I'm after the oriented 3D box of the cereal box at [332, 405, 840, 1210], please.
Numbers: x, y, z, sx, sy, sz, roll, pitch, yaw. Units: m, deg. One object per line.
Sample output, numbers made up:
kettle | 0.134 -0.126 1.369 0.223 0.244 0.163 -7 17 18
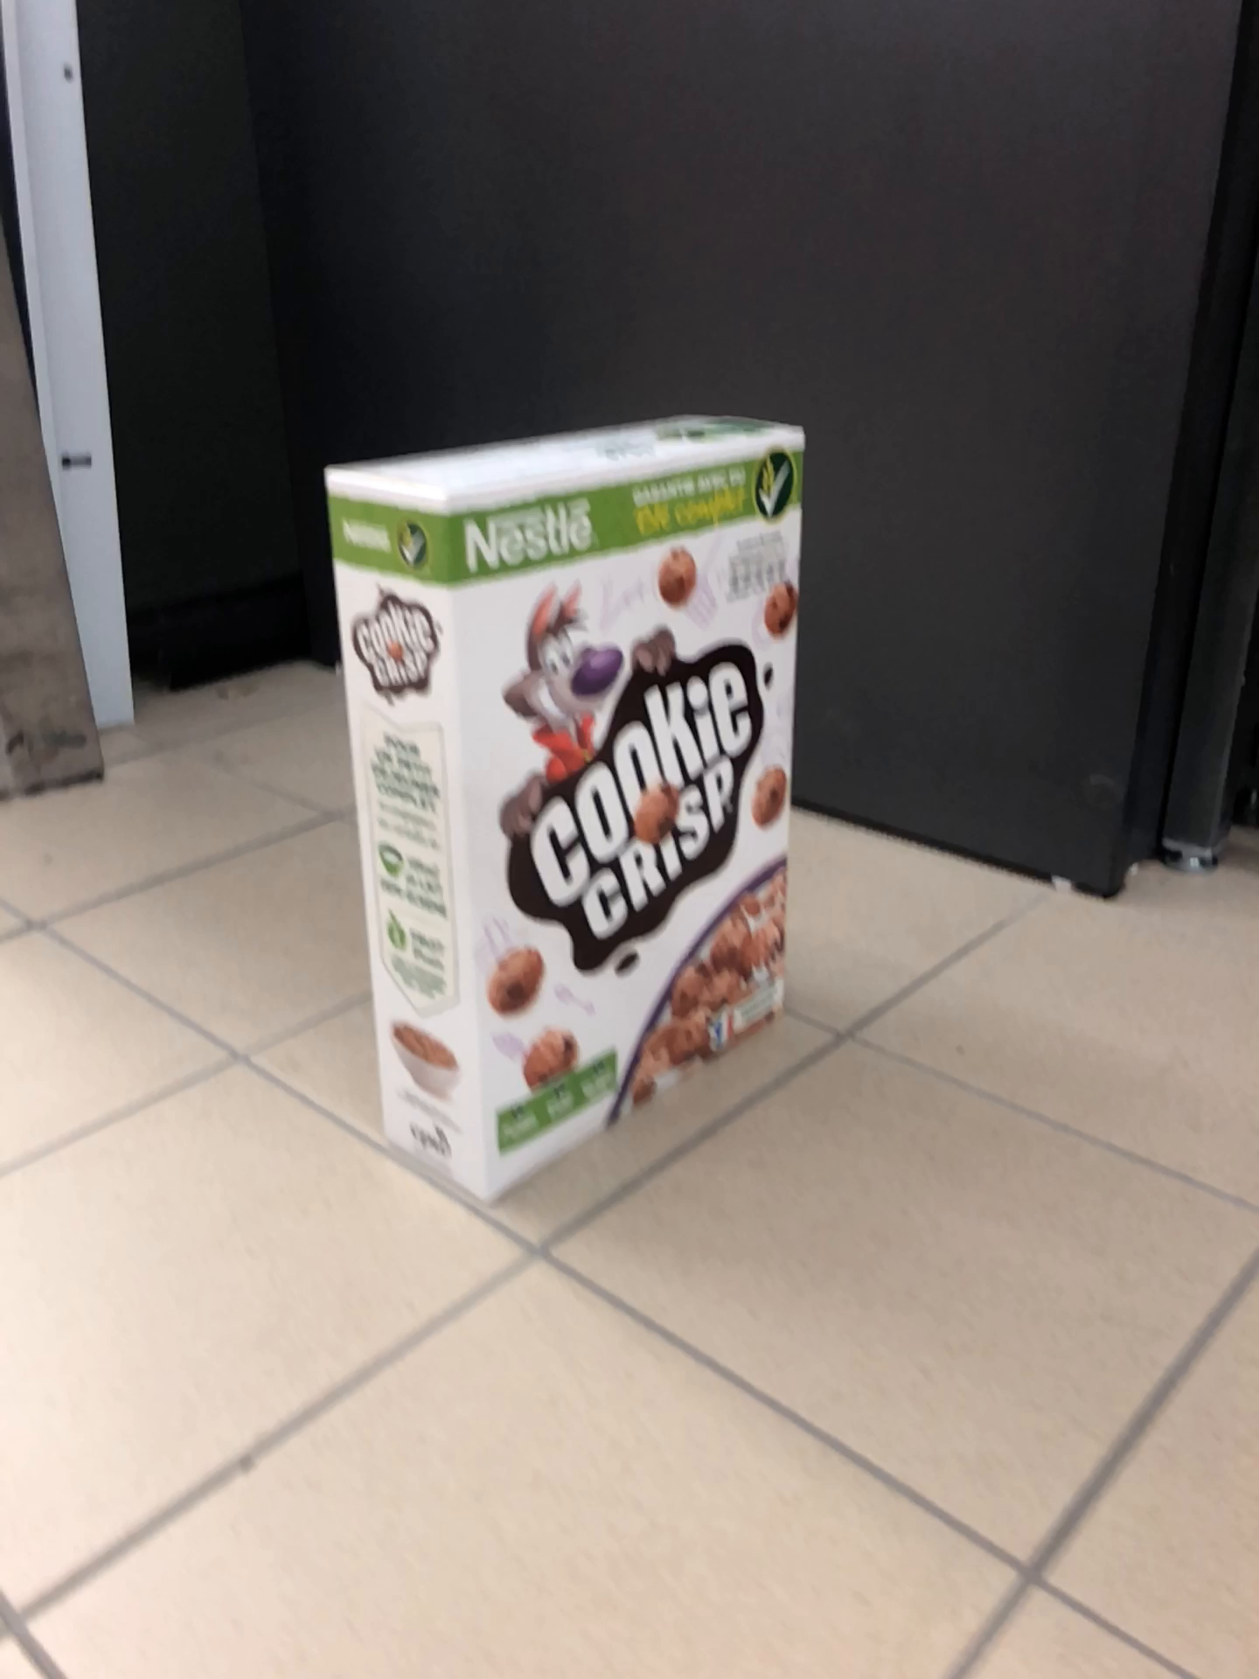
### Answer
cereal box | -0.005 -0.022 0.550 0.060 0.269 0.201 20 31 39
